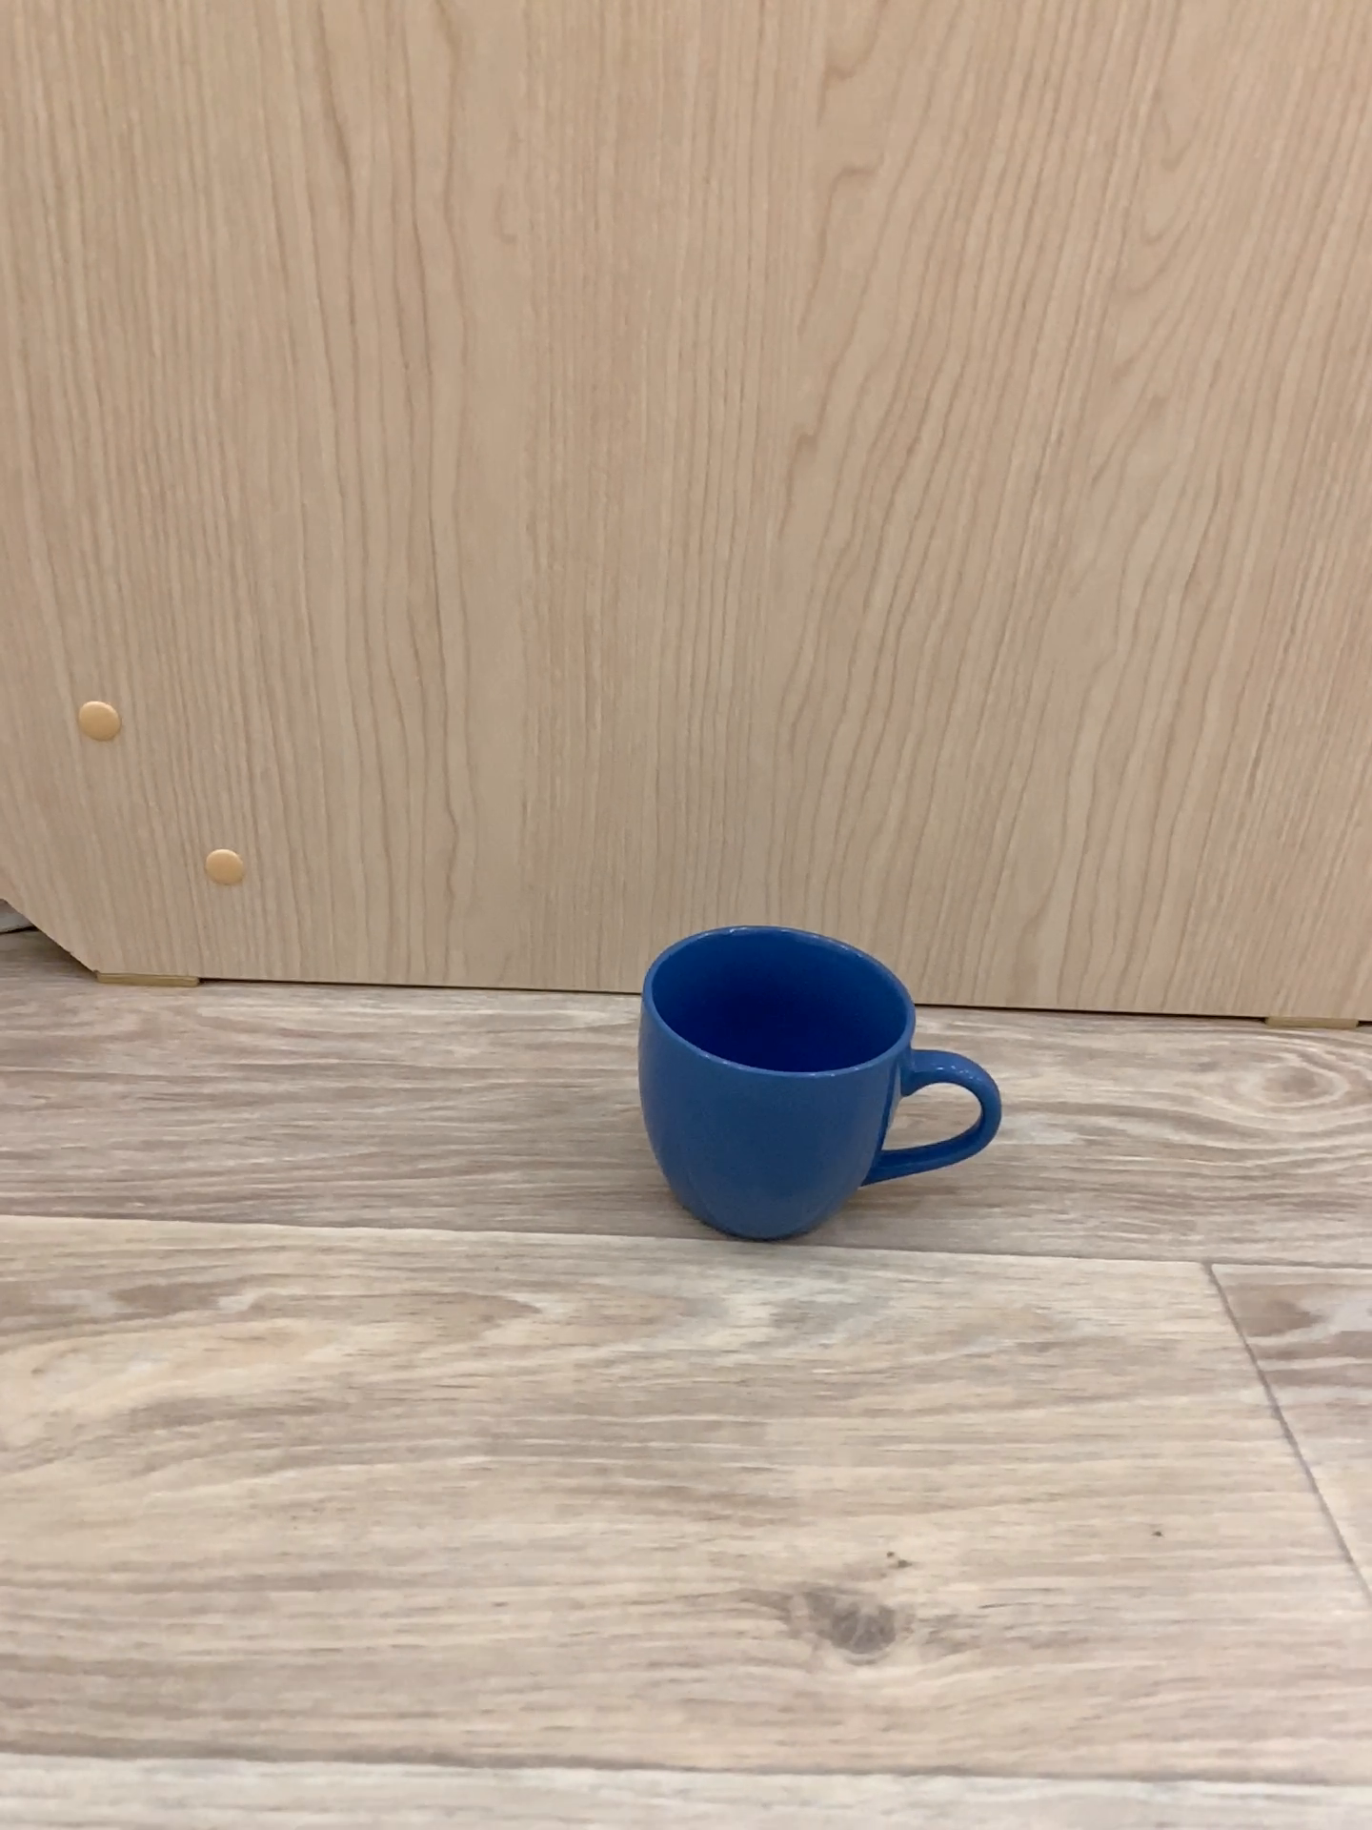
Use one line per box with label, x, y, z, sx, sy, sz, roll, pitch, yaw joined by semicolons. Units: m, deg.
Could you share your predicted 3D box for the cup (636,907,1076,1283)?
cup;0.049;0.054;0.440;0.117;0.074;0.078;5;28;1
